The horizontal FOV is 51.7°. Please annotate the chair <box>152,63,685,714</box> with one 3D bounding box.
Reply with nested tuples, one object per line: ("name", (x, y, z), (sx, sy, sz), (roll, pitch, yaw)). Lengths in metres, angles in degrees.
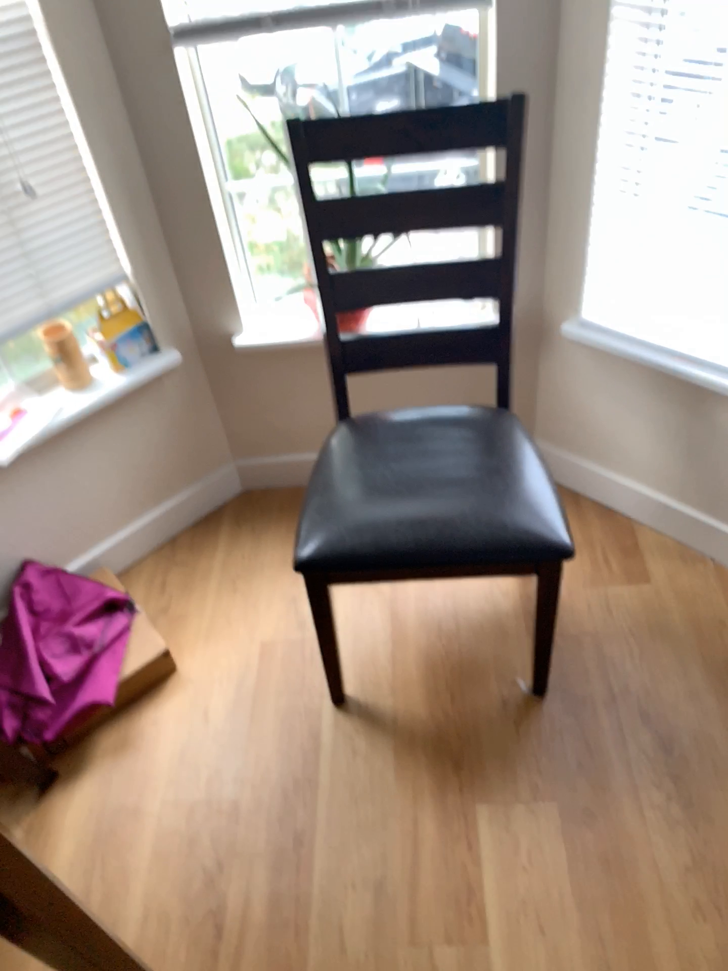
("chair", (0.101, -0.104, 1.307), (0.560, 0.945, 0.543), (-4, 43, 5))
